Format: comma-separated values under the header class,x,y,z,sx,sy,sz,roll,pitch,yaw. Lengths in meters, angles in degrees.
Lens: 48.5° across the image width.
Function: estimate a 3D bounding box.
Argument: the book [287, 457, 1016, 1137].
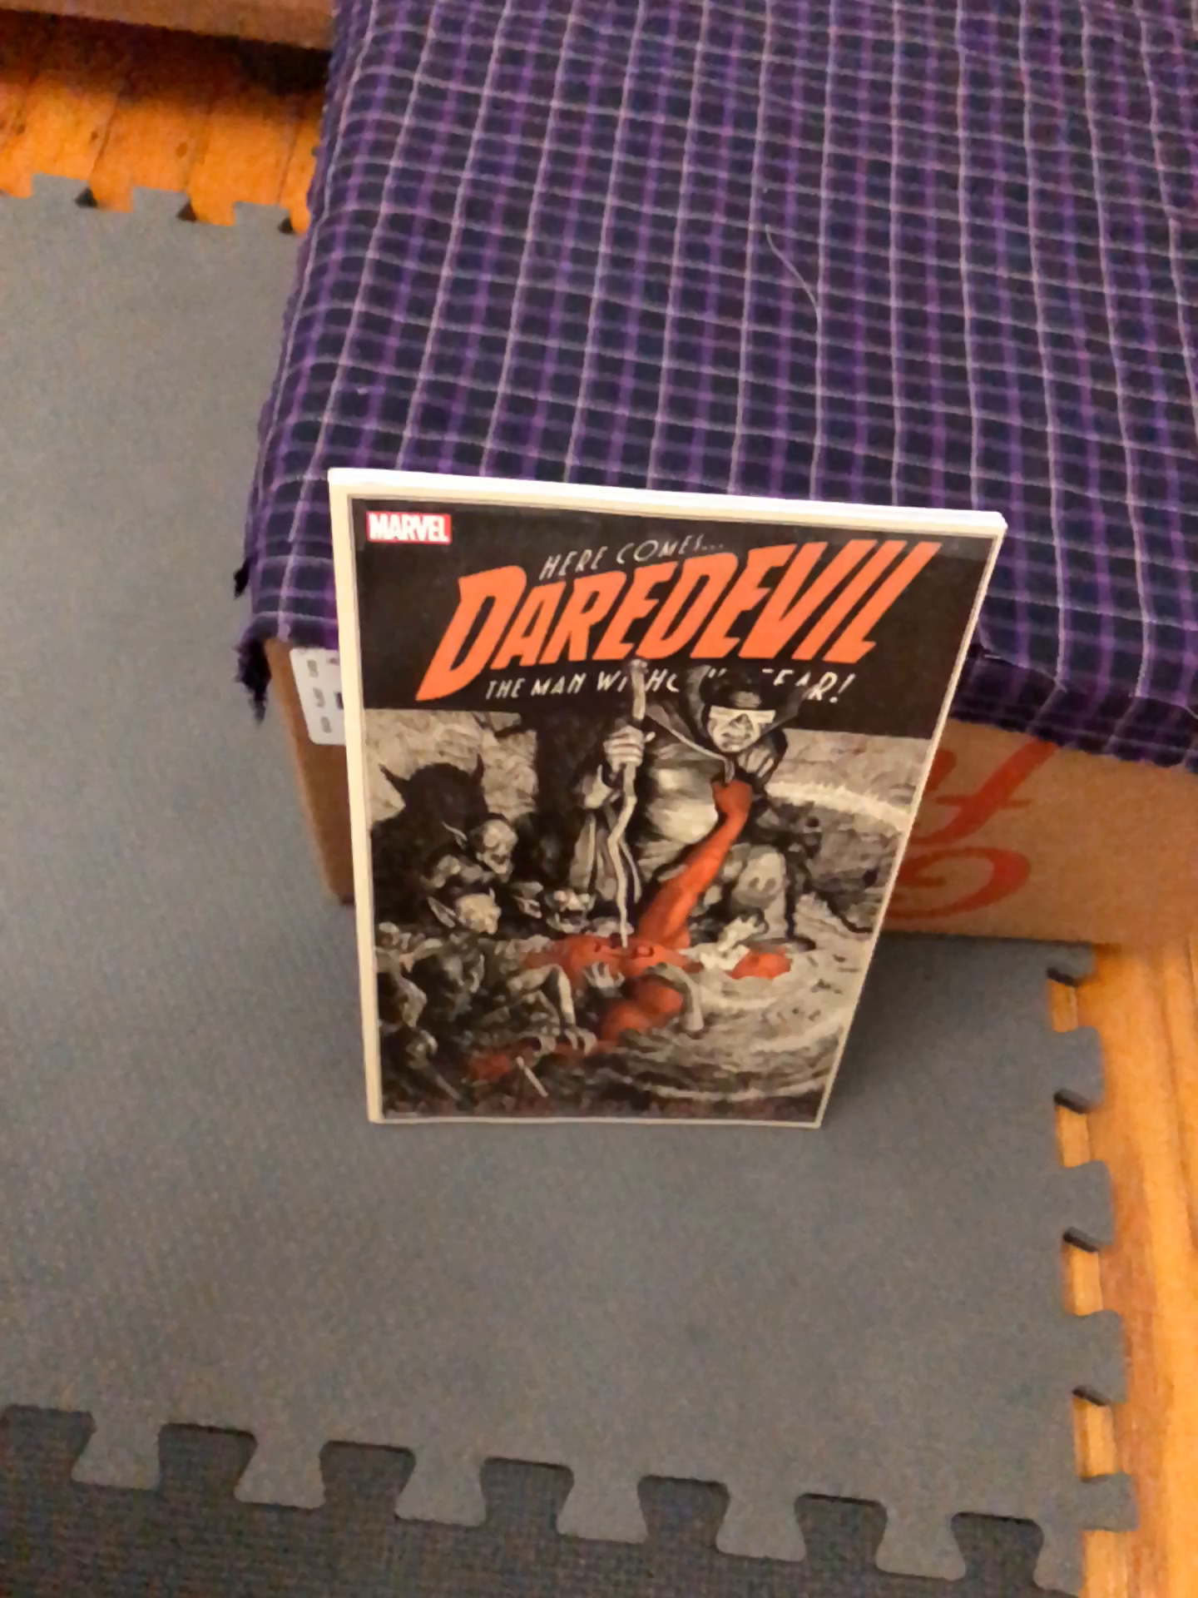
class,x,y,z,sx,sy,sz,roll,pitch,yaw
book,0.004,0.018,0.372,0.160,0.229,0.020,2,41,-5
